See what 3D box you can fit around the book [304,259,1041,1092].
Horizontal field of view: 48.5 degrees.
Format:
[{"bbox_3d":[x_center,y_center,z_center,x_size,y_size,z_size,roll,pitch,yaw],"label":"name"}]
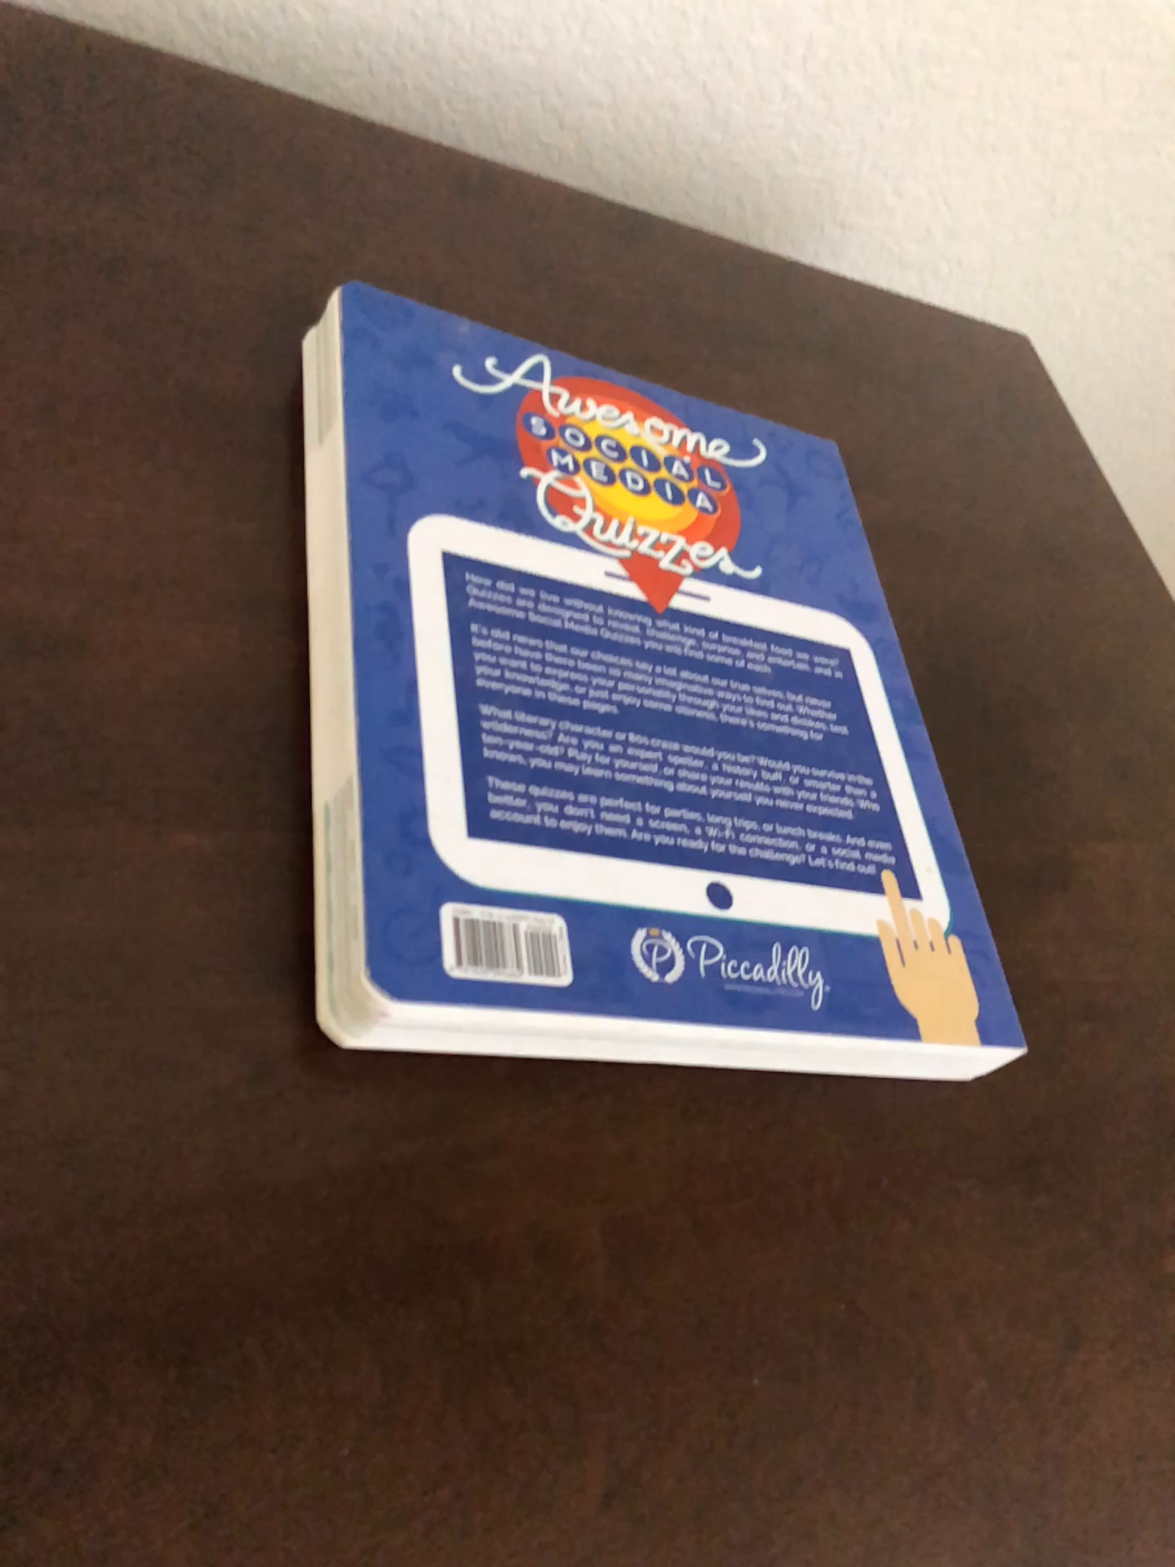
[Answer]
[{"bbox_3d":[0.015,-0.028,0.329,0.166,0.030,0.201,10,55,-28],"label":"book"}]
